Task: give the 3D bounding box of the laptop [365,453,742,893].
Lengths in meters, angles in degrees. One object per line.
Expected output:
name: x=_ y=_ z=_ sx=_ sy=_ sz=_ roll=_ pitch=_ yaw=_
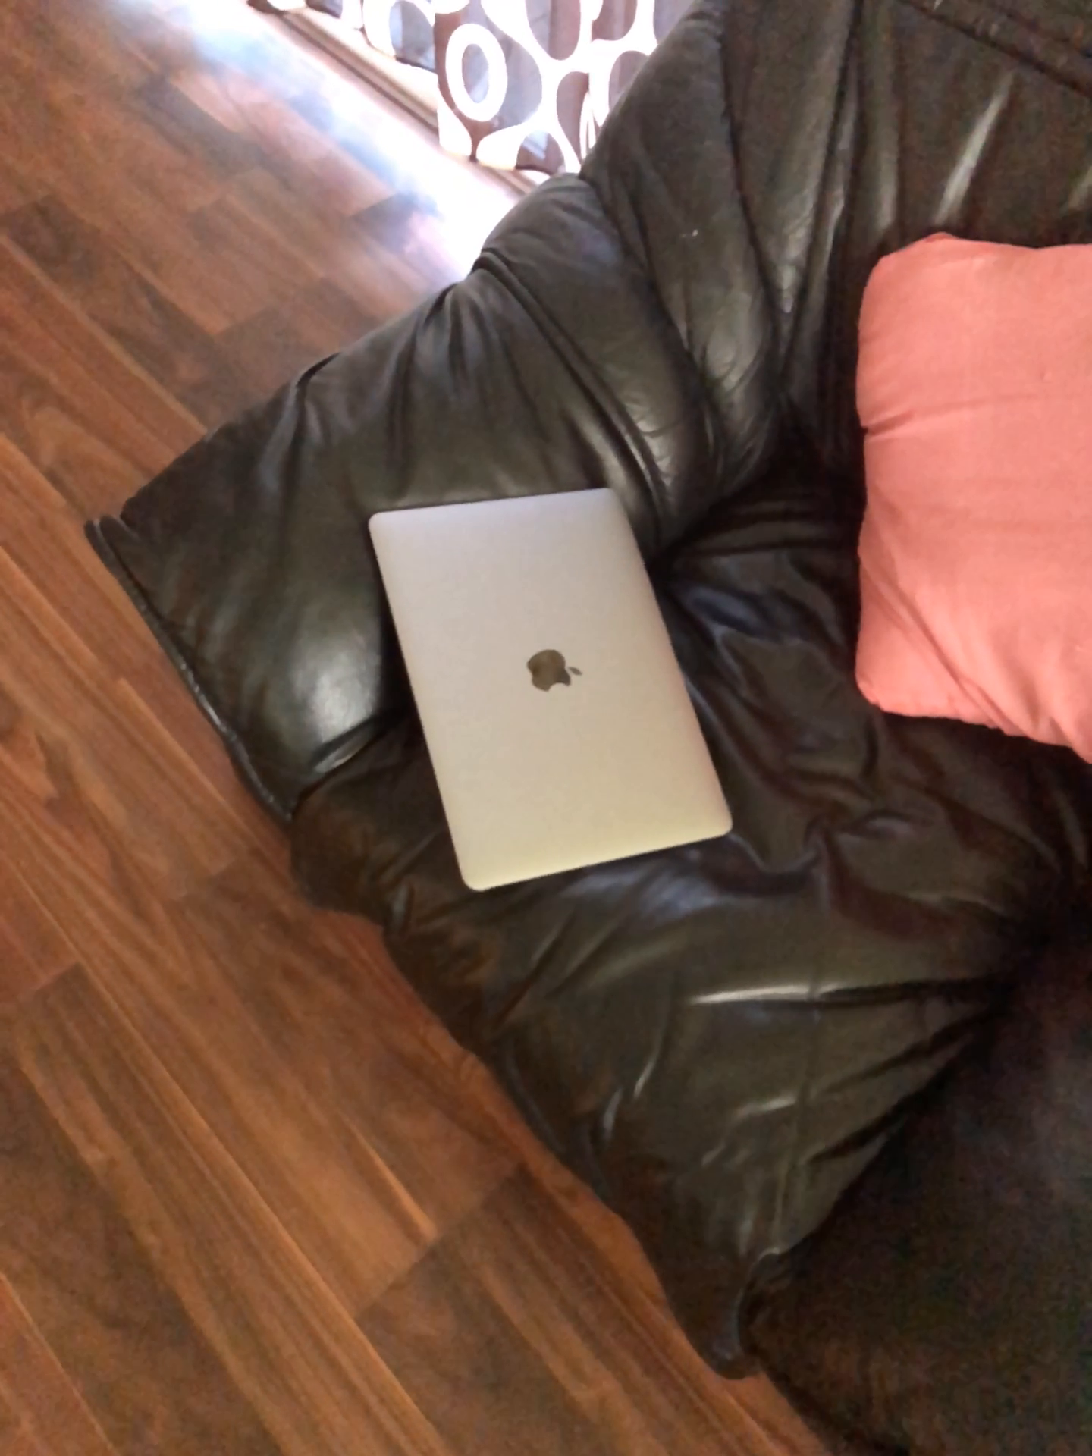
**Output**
laptop: x=0.003 y=-0.047 z=0.787 sx=0.185 sy=0.036 sz=0.265 roll=-10 pitch=70 yaw=-21
